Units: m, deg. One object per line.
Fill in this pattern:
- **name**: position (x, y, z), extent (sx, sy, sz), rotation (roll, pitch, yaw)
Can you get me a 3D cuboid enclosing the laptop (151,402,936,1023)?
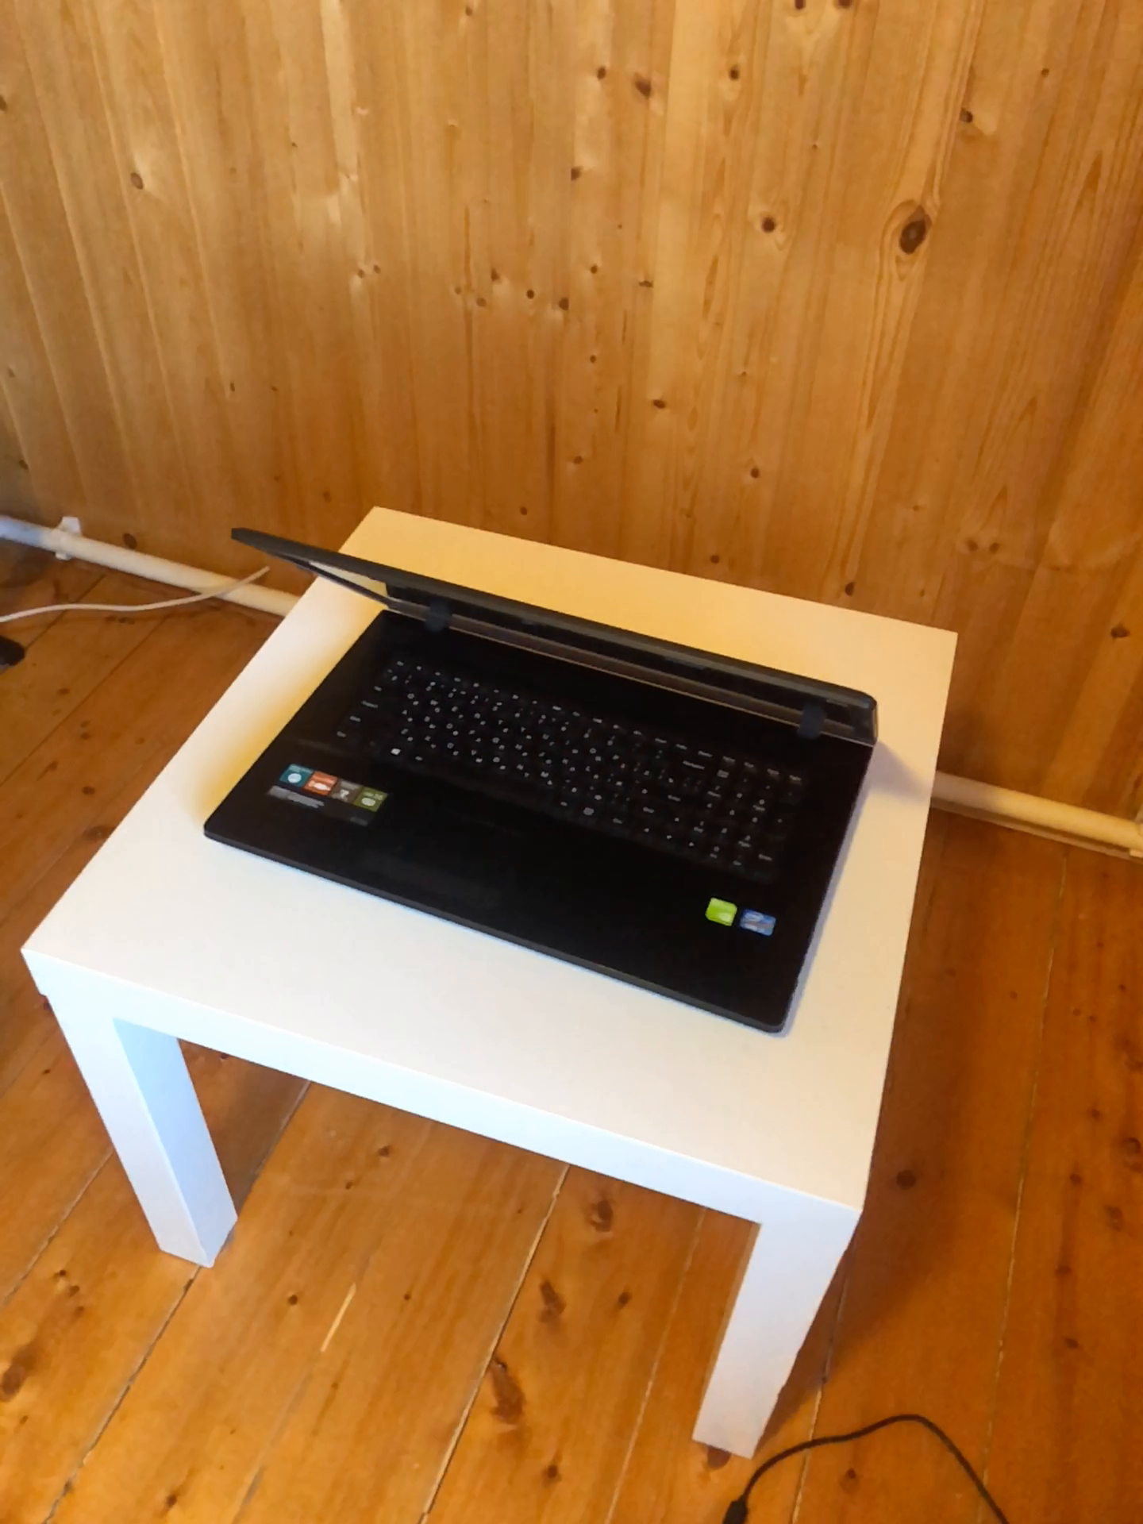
- **laptop**: position (-0.007, -0.047, 0.816), extent (0.401, 0.183, 0.252), rotation (17, 47, 13)
